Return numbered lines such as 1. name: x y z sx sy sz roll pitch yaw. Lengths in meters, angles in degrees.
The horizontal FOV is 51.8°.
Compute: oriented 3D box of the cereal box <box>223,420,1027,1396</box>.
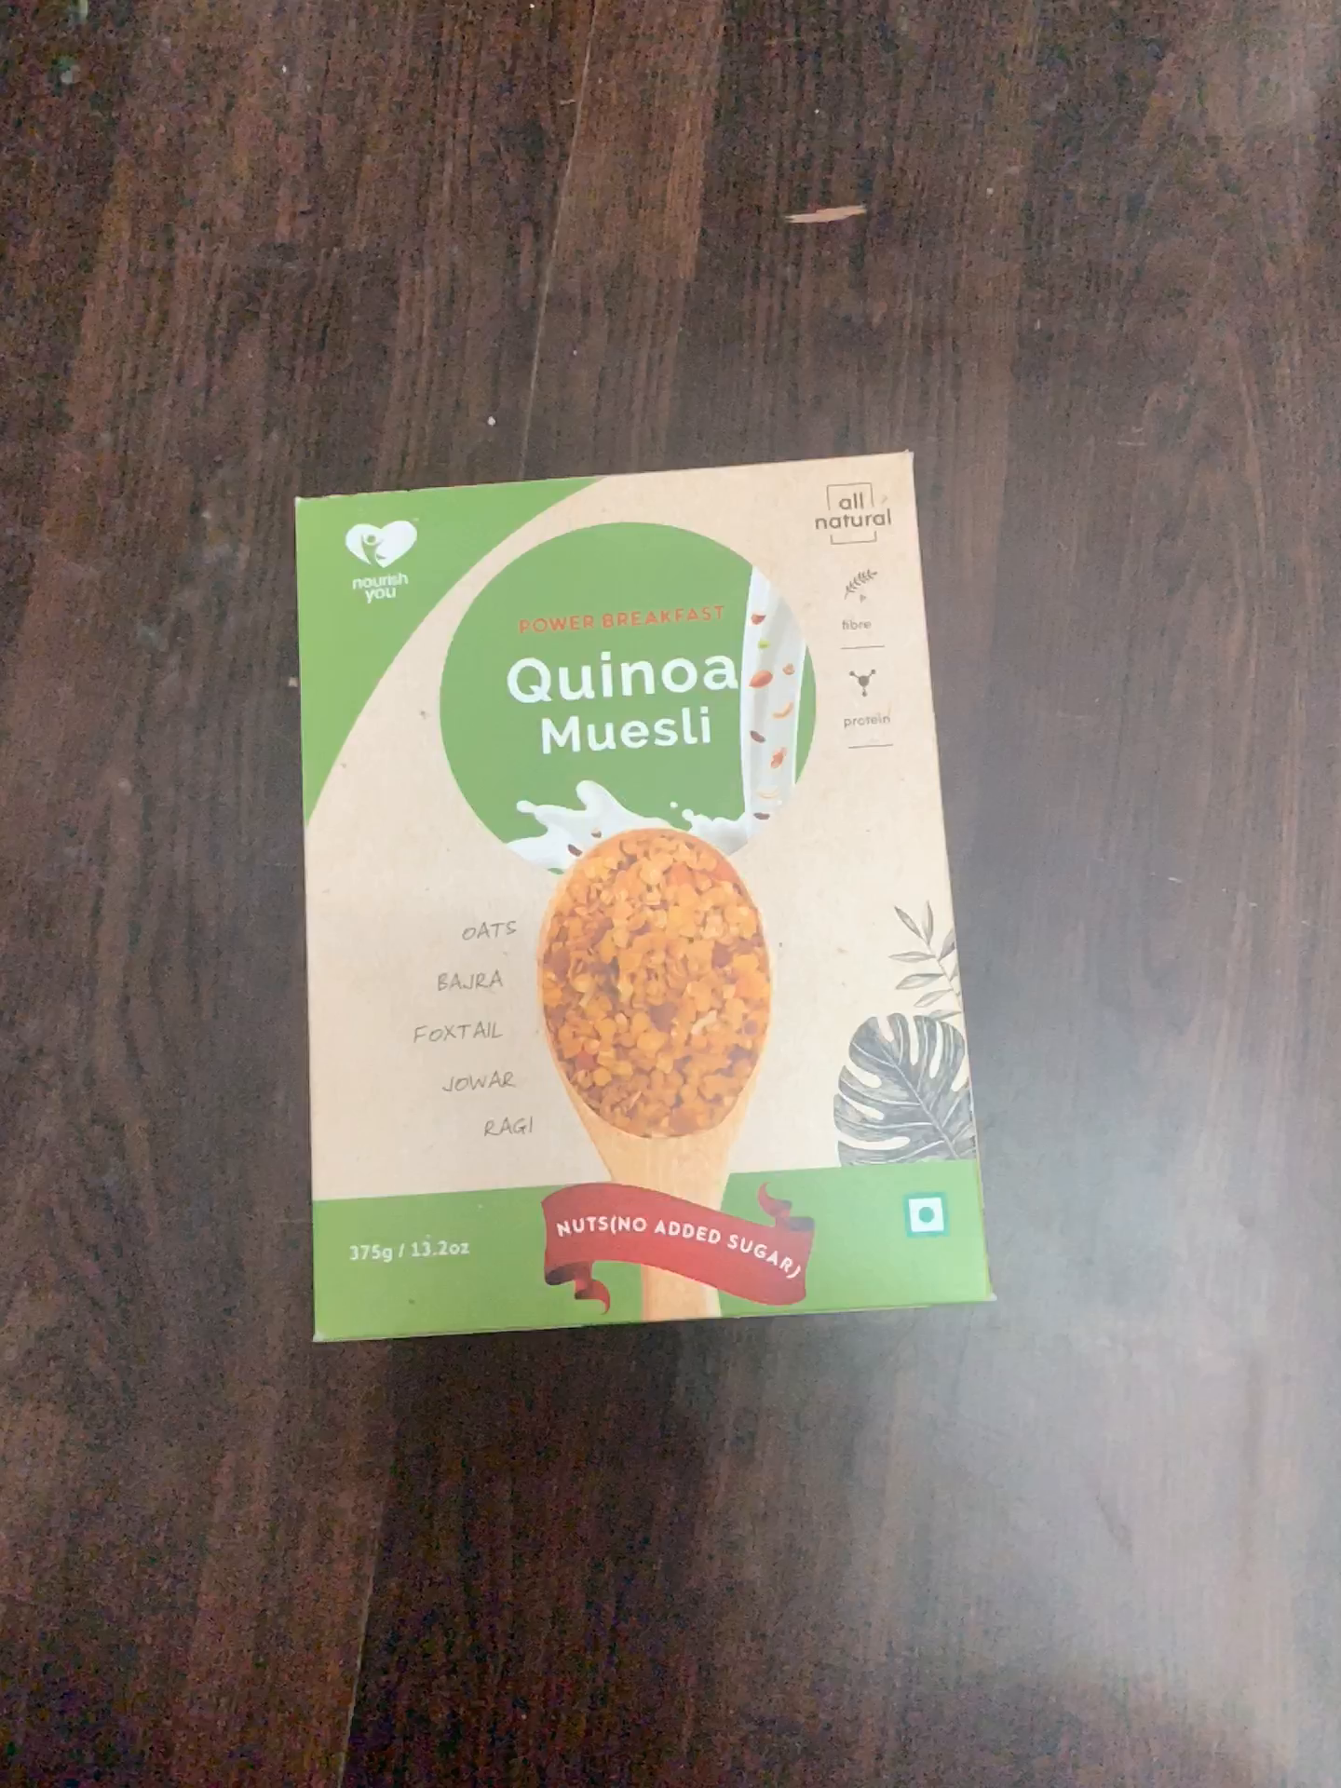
1. cereal box: -0.013 0.005 0.346 0.170 0.070 0.210 -4 83 4
